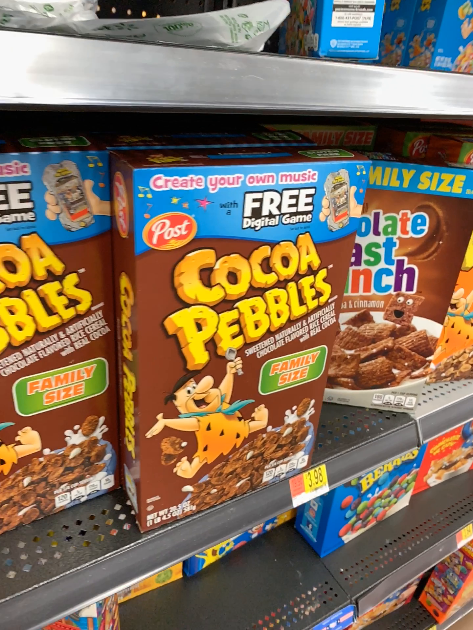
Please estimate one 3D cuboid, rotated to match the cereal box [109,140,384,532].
[{"bbox_3d":[0.000,0.021,0.435,0.200,0.328,0.060,-11,32,-28],"label":"cereal box"}]
